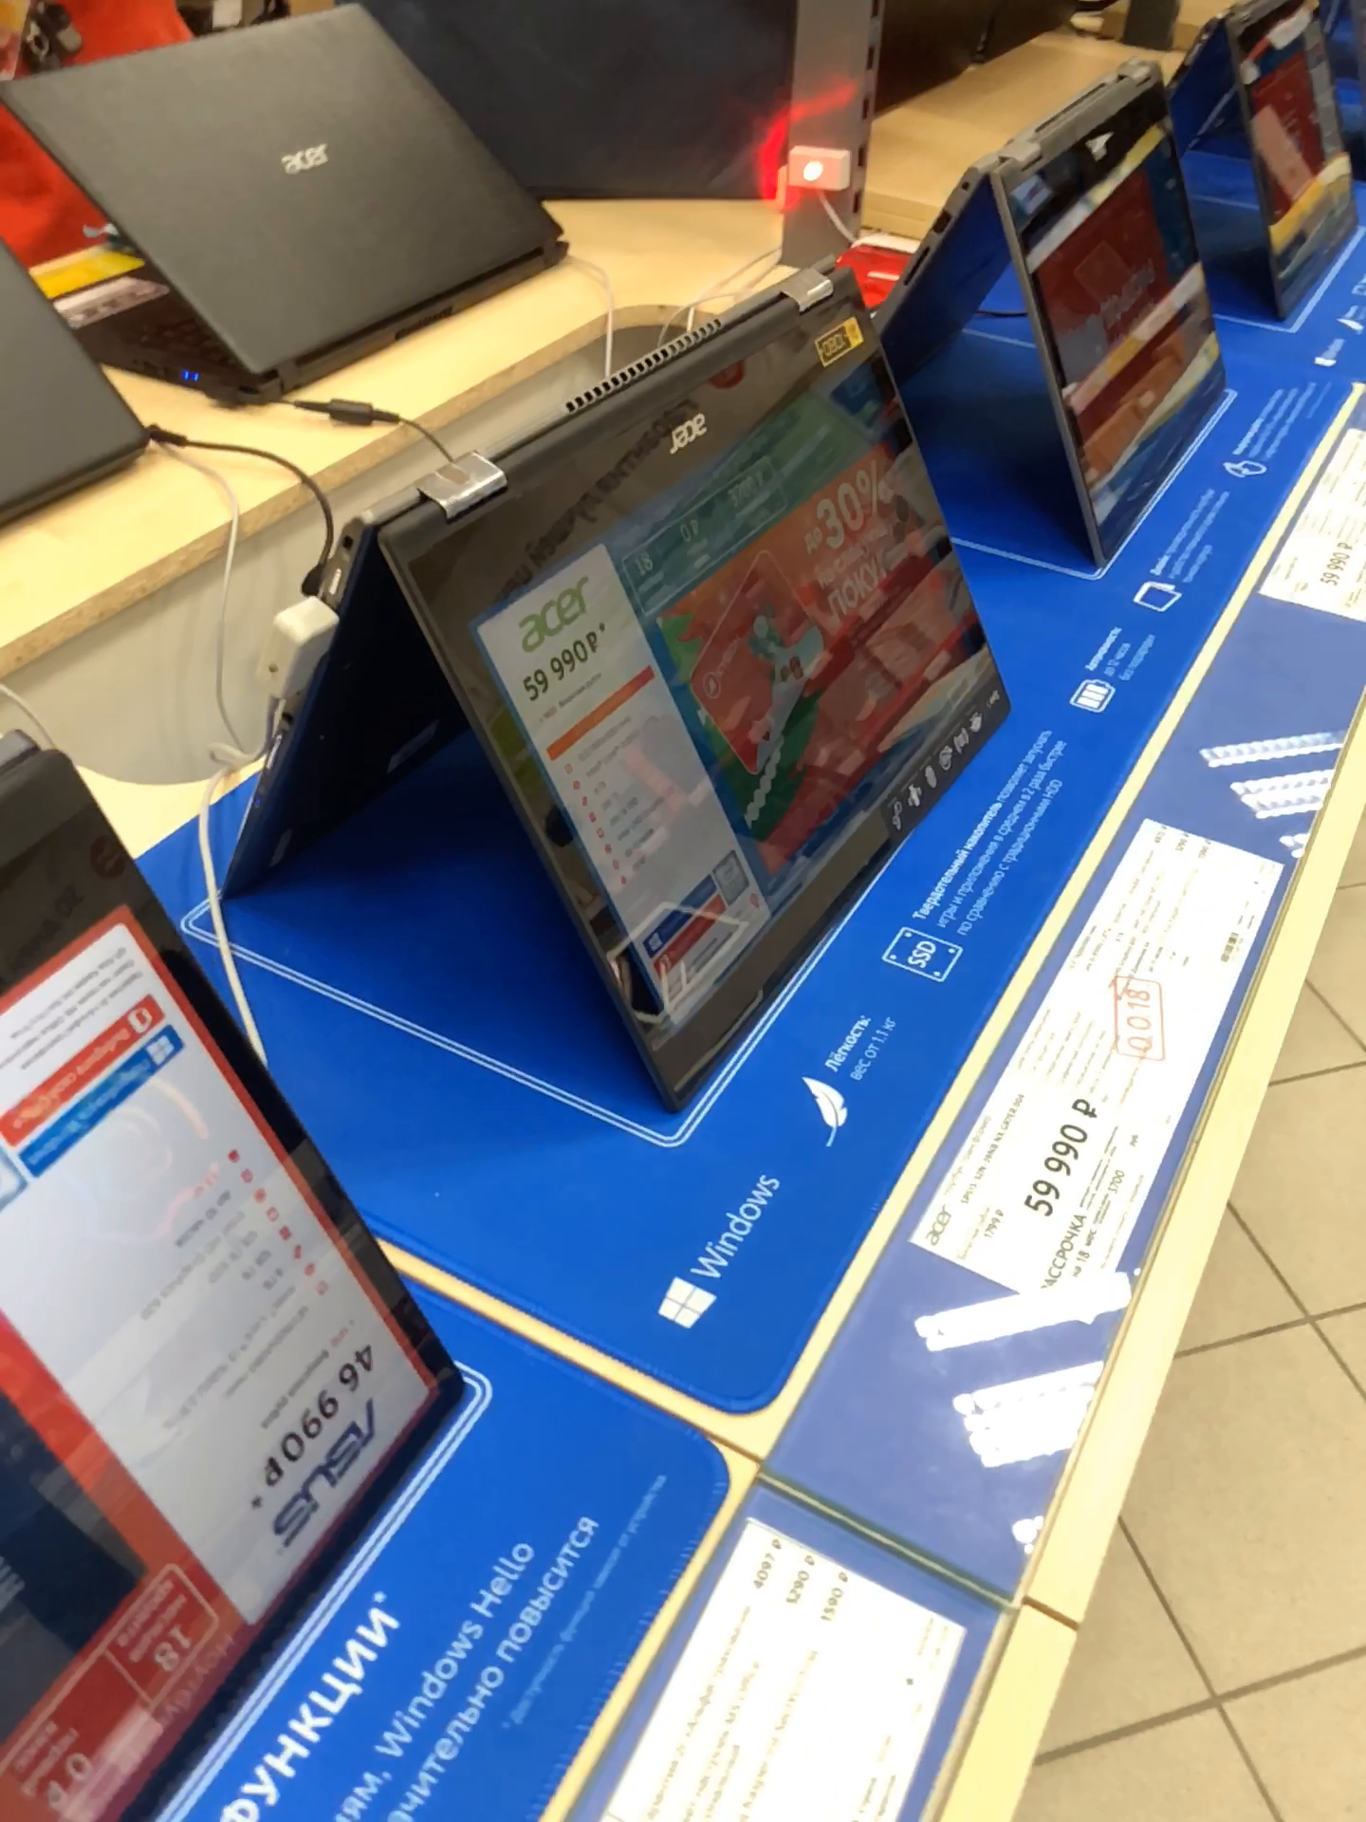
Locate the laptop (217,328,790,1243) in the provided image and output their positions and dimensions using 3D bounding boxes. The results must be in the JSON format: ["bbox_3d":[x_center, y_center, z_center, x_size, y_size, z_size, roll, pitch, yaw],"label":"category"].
[{"bbox_3d":[-0.071,-0.056,0.701,0.201,0.159,0.308,-18,20,34],"label":"laptop"}]

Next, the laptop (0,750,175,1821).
[{"bbox_3d":[-0.254,0.157,0.375,0.175,0.179,0.270,-9,25,36],"label":"laptop"}]
